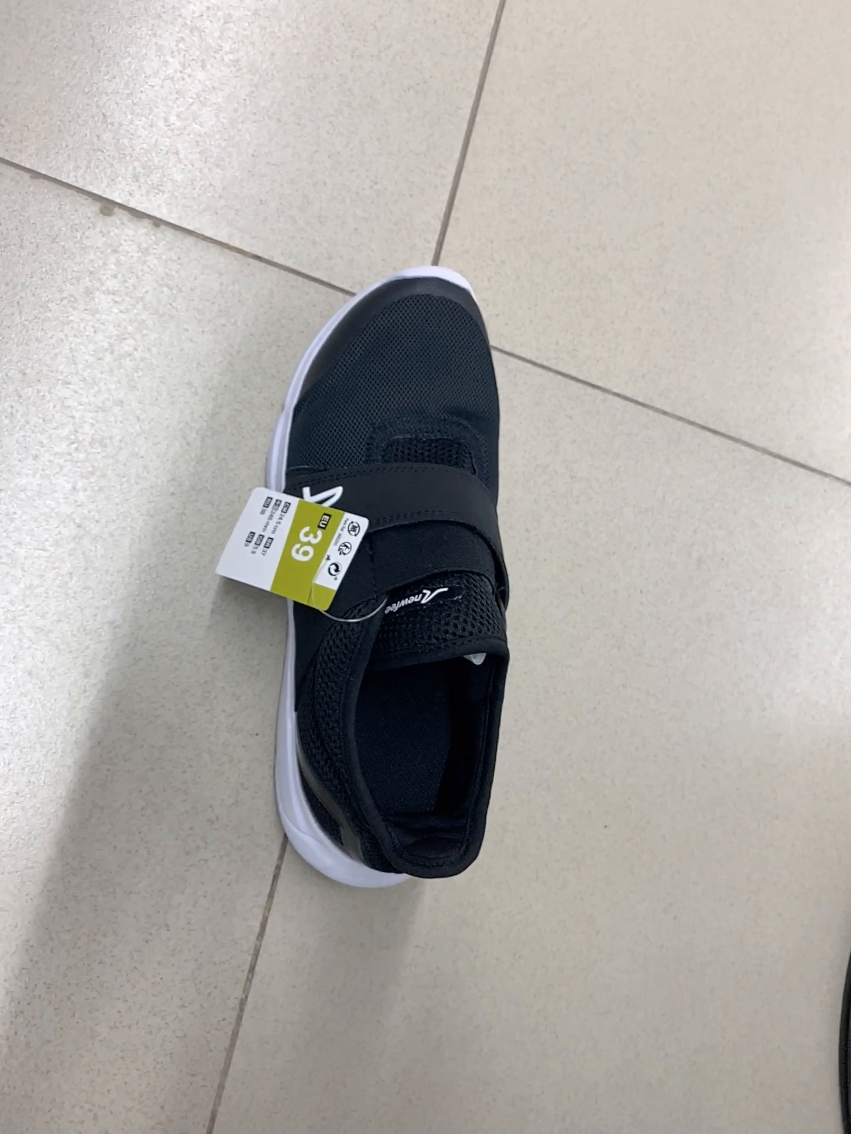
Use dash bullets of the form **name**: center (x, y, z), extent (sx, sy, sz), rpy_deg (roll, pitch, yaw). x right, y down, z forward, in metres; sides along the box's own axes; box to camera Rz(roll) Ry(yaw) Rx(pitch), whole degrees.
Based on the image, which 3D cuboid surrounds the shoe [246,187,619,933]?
- **shoe**: center (0.000, 0.001, 0.355), extent (0.110, 0.100, 0.250), rpy_deg (6, 83, -18)
